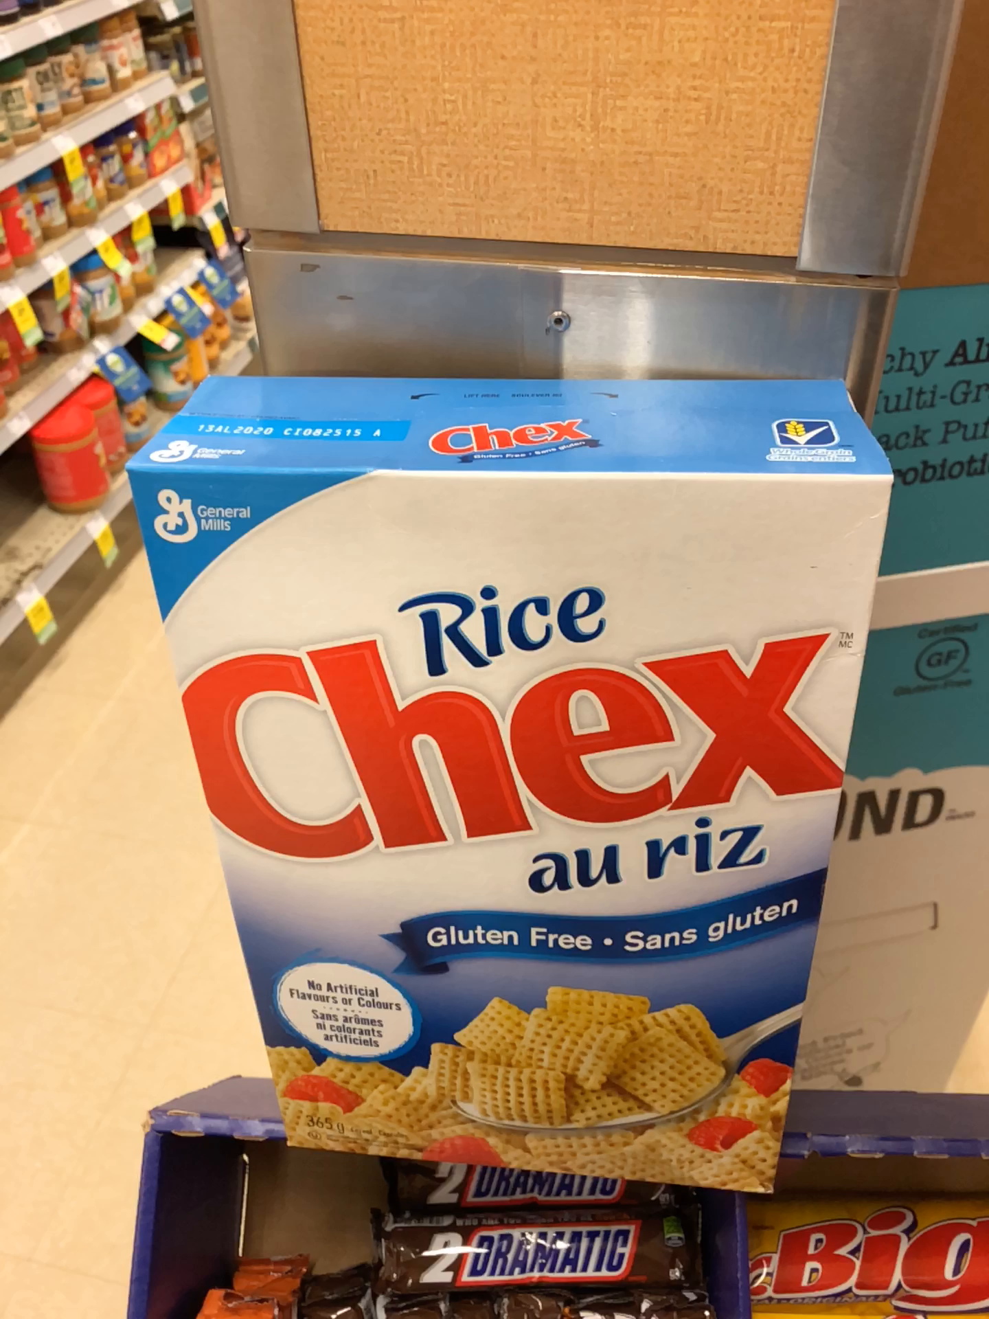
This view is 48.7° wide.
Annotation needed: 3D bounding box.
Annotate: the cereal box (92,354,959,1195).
[{"bbox_3d":[0.009,0.053,0.370,0.210,0.288,0.070,3,33,6],"label":"cereal box"}]
